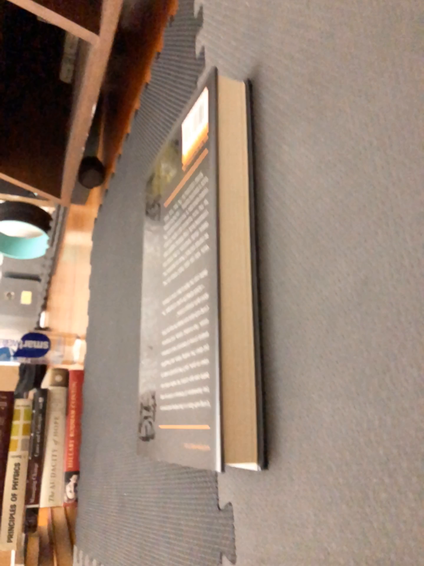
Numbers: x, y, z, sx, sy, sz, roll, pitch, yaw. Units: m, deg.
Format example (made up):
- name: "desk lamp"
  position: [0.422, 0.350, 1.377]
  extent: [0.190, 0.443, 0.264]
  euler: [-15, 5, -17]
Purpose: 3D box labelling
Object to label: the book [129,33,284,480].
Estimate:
- name: "book"
  position: [-0.013, -0.008, 0.343]
  extent: [0.171, 0.040, 0.260]
  euler: [148, 126, -63]
